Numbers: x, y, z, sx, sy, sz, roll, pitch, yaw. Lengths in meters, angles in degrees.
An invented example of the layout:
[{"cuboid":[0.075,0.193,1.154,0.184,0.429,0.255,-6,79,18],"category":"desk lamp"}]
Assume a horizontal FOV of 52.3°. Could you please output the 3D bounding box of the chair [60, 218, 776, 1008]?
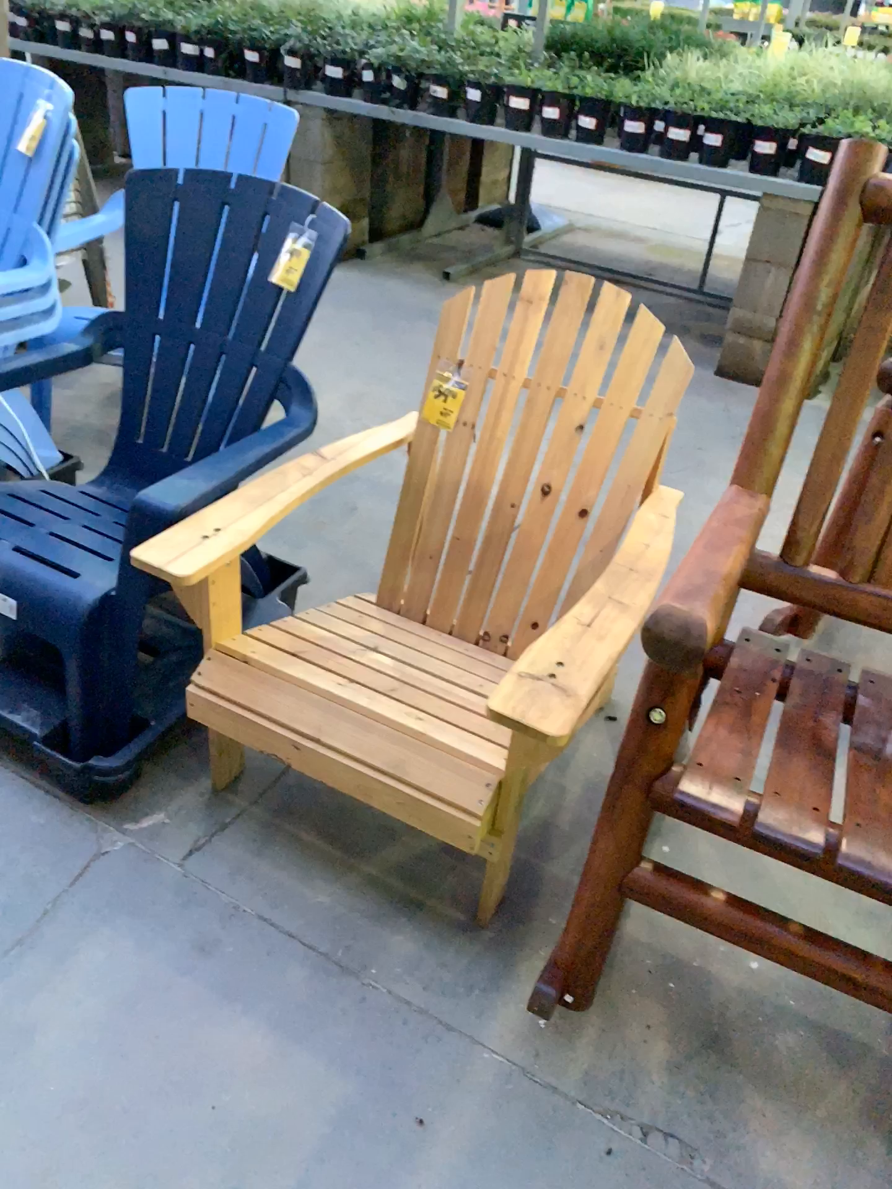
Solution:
[{"cuboid":[0.002,-0.056,1.612,0.728,0.886,0.895,21,38,20],"category":"chair"}]
